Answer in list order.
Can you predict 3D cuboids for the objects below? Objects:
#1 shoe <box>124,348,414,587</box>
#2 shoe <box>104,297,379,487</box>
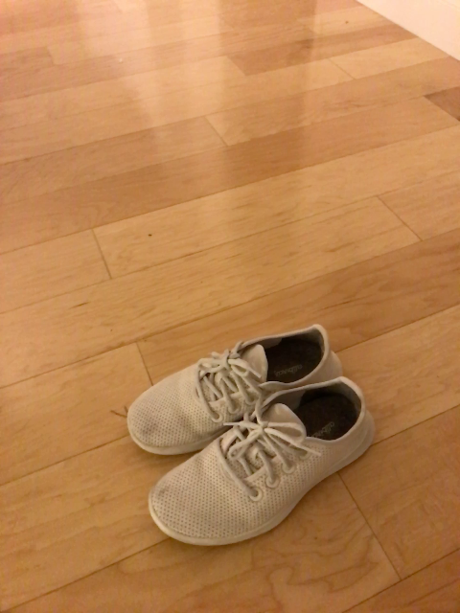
[{"bbox_3d":[0.044,0.163,0.538,0.281,0.079,0.110,-23,53,-18],"label":"shoe"},{"bbox_3d":[0.014,0.095,0.593,0.290,0.079,0.111,-17,51,-14],"label":"shoe"}]
